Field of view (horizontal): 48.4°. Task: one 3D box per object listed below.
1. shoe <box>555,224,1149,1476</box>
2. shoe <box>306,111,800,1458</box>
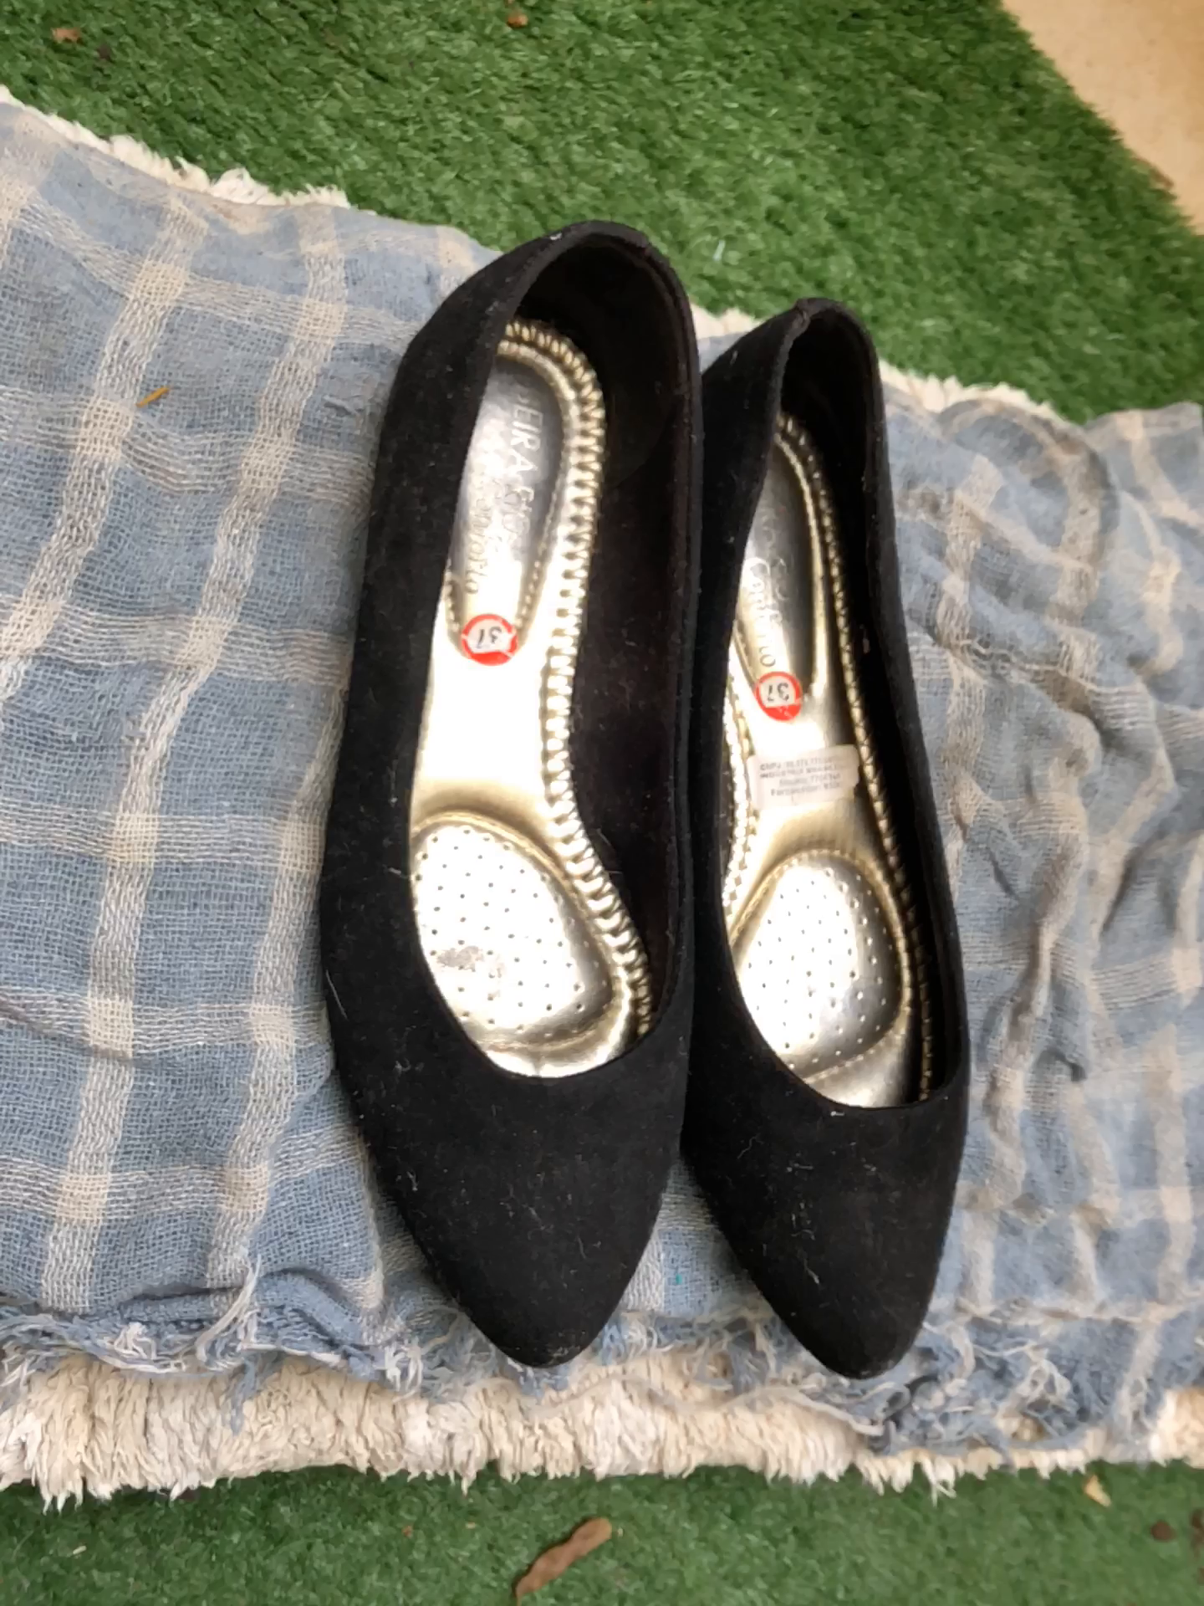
[{"bbox_3d":[0.056,0.006,0.340,0.090,0.080,0.270,-4,84,-20],"label":"shoe"},{"bbox_3d":[-0.019,-0.006,0.319,0.090,0.080,0.270,1,83,-20],"label":"shoe"}]
